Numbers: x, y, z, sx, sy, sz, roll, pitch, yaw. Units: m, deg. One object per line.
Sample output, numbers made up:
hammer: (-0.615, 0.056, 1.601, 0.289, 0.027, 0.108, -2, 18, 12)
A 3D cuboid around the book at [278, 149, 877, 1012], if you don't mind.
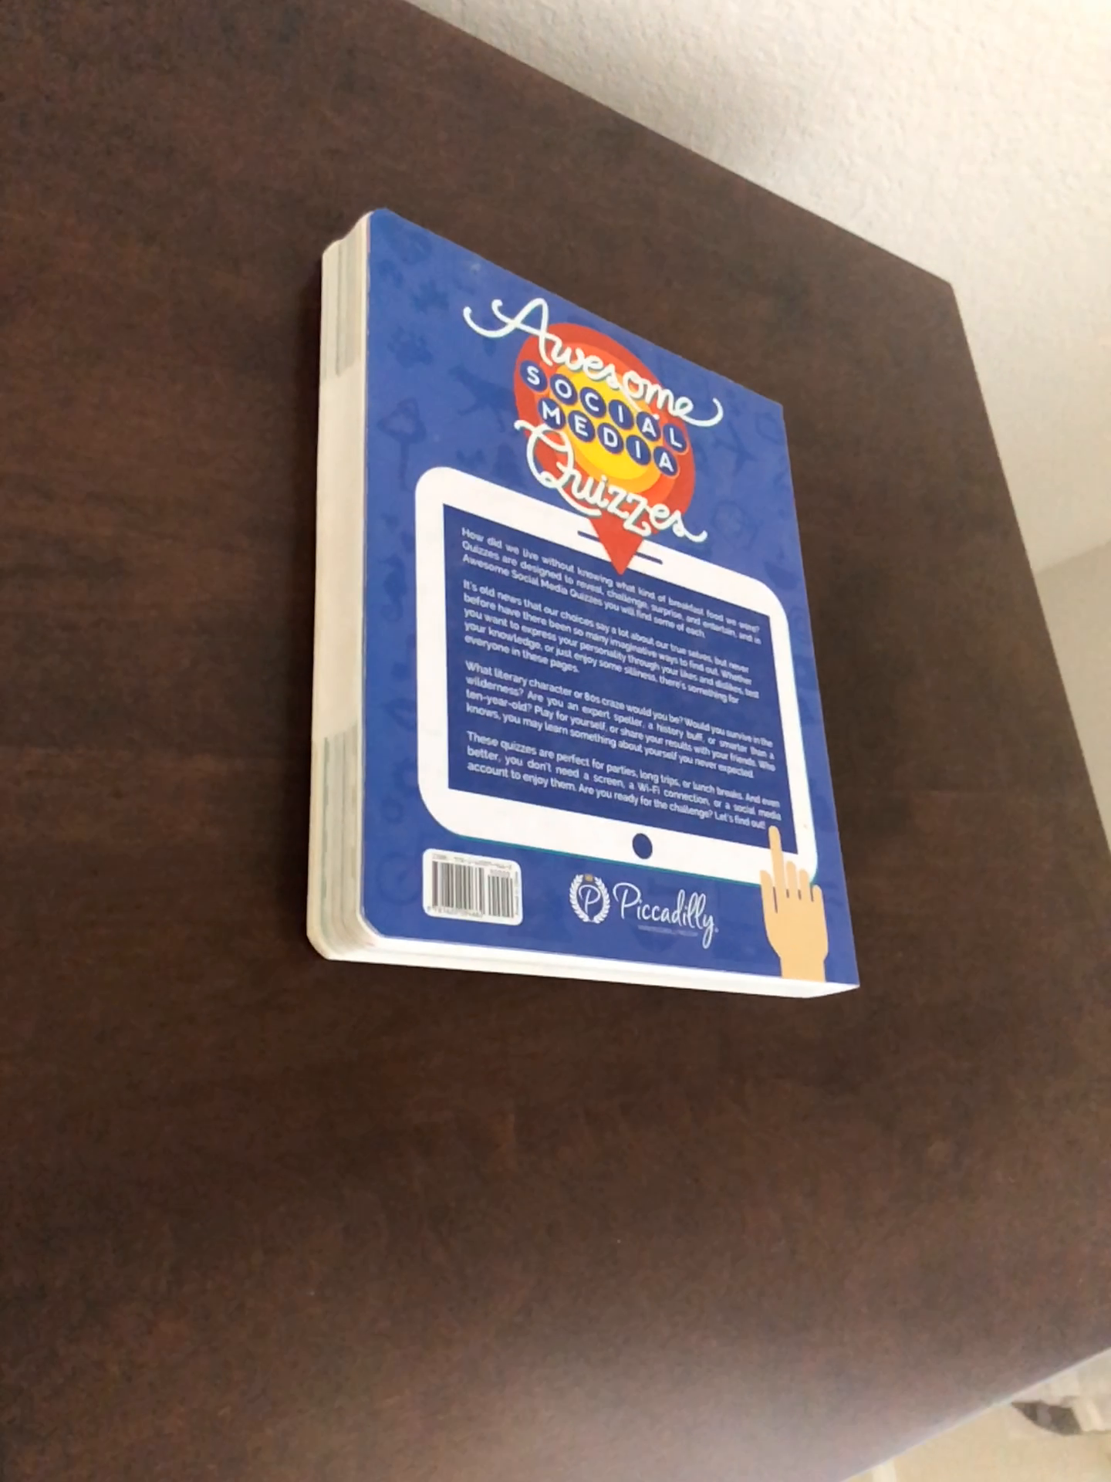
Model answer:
book: (0.010, -0.037, 0.351, 0.174, 0.030, 0.214, 12, 65, -37)
